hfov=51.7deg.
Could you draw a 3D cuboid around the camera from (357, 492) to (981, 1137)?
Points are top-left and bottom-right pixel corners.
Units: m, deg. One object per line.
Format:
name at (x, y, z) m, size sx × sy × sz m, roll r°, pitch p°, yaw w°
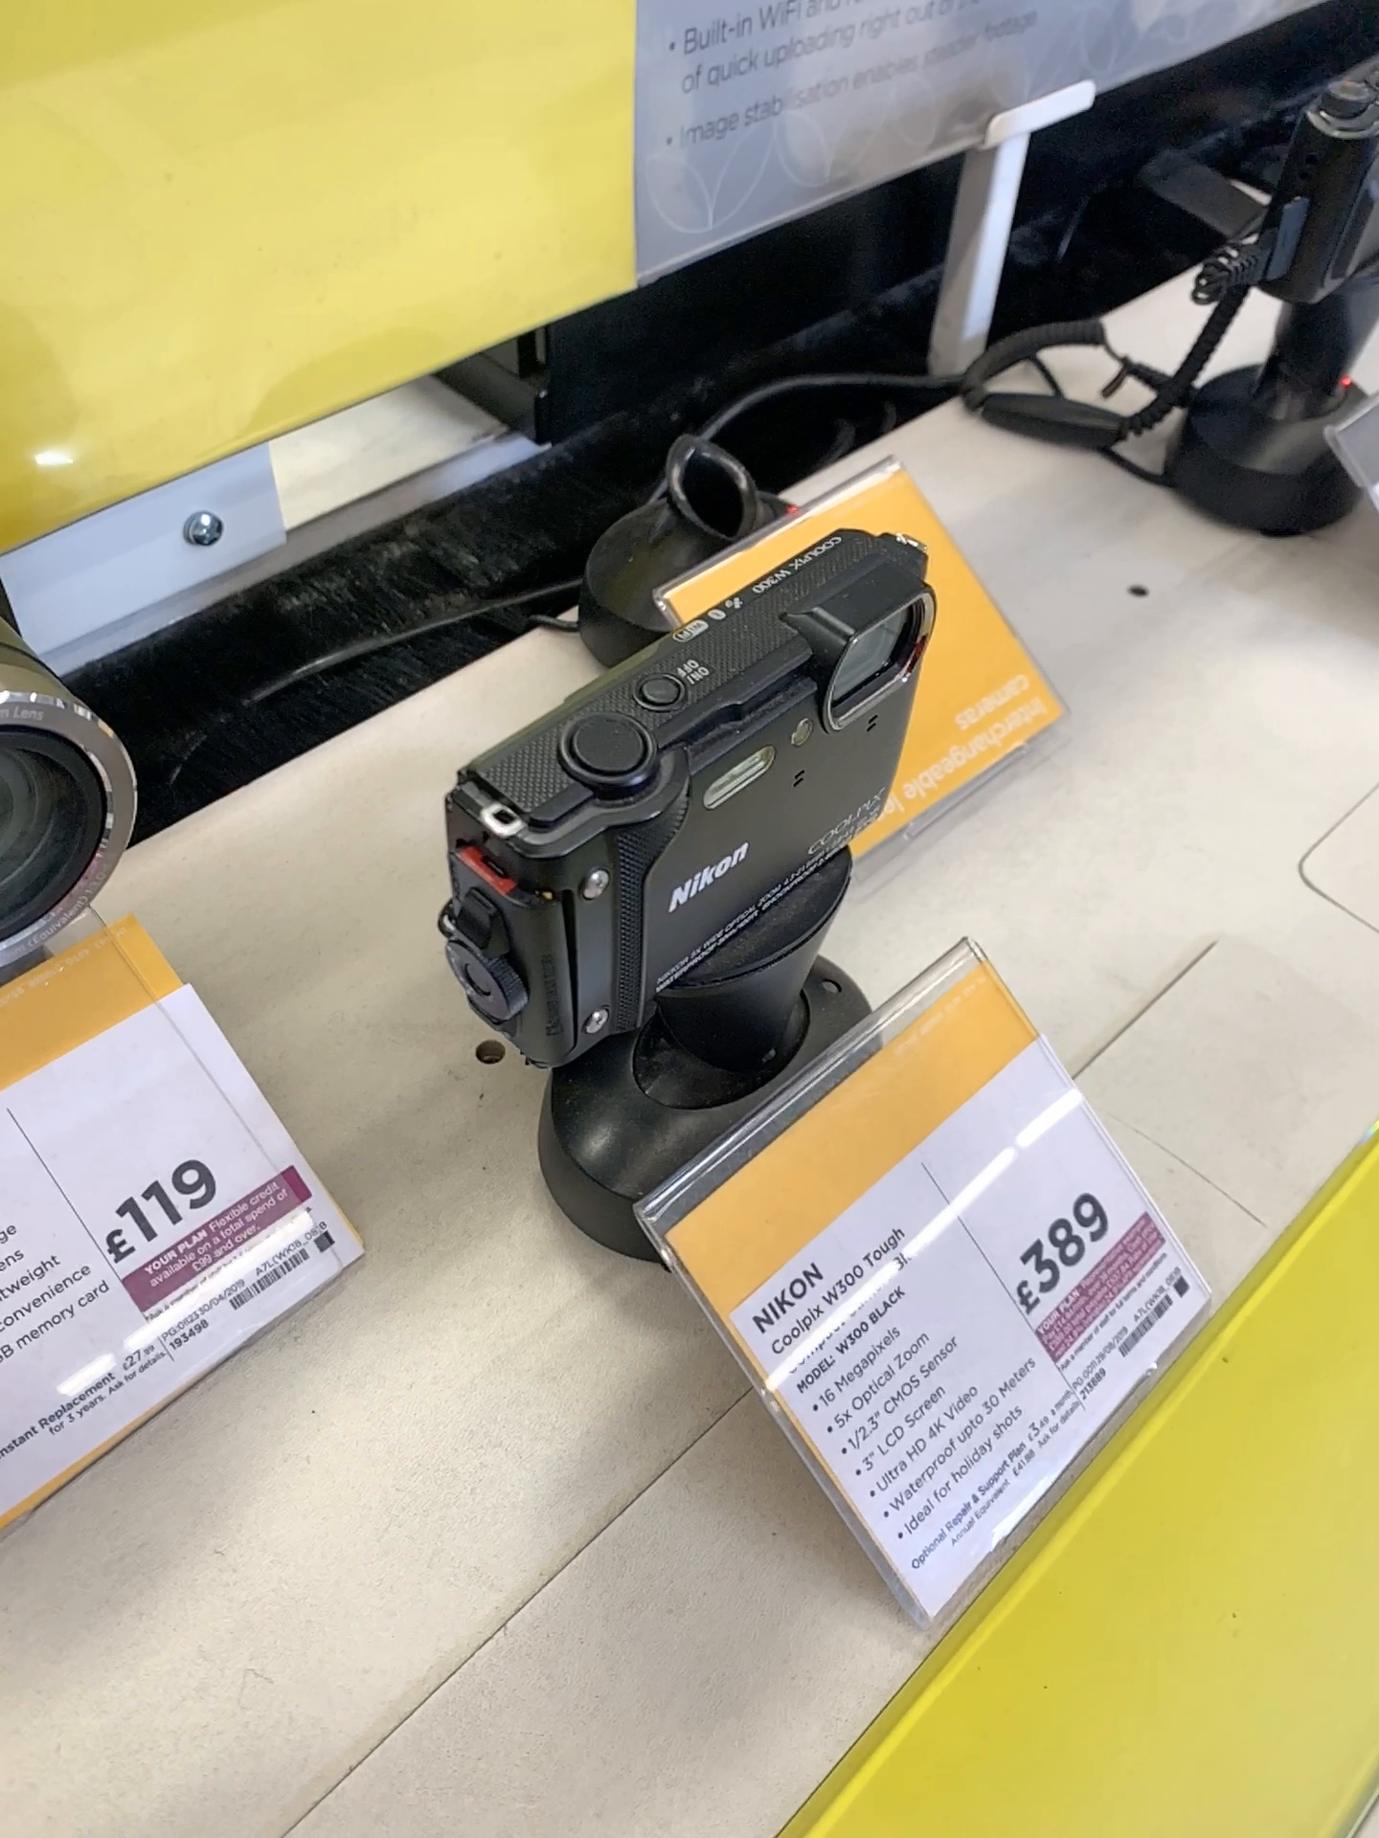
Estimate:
camera at (0.000, -0.022, 0.271) m, size 0.121 × 0.069 × 0.030 m, roll -36°, pitch 61°, yaw -29°
